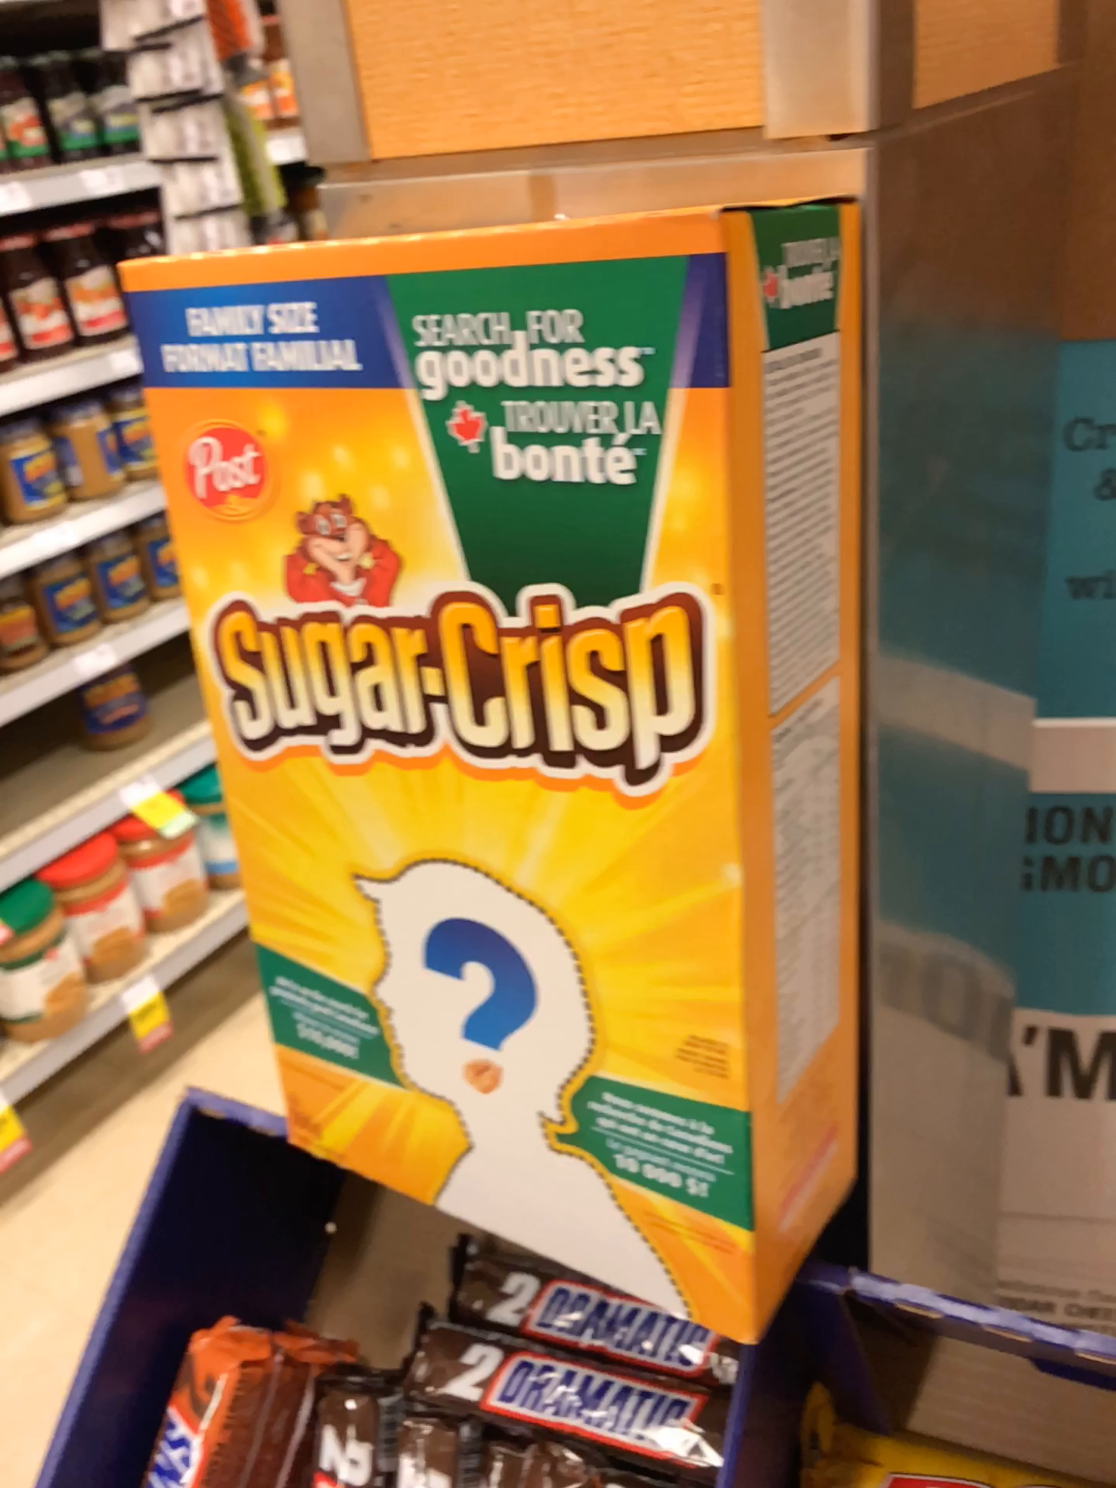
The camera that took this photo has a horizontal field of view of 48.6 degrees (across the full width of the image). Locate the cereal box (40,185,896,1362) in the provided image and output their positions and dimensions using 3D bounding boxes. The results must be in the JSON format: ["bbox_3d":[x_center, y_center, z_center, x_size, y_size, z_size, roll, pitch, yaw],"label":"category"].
[{"bbox_3d":[-0.022,0.002,0.378,0.221,0.298,0.080,10,26,32],"label":"cereal box"}]
